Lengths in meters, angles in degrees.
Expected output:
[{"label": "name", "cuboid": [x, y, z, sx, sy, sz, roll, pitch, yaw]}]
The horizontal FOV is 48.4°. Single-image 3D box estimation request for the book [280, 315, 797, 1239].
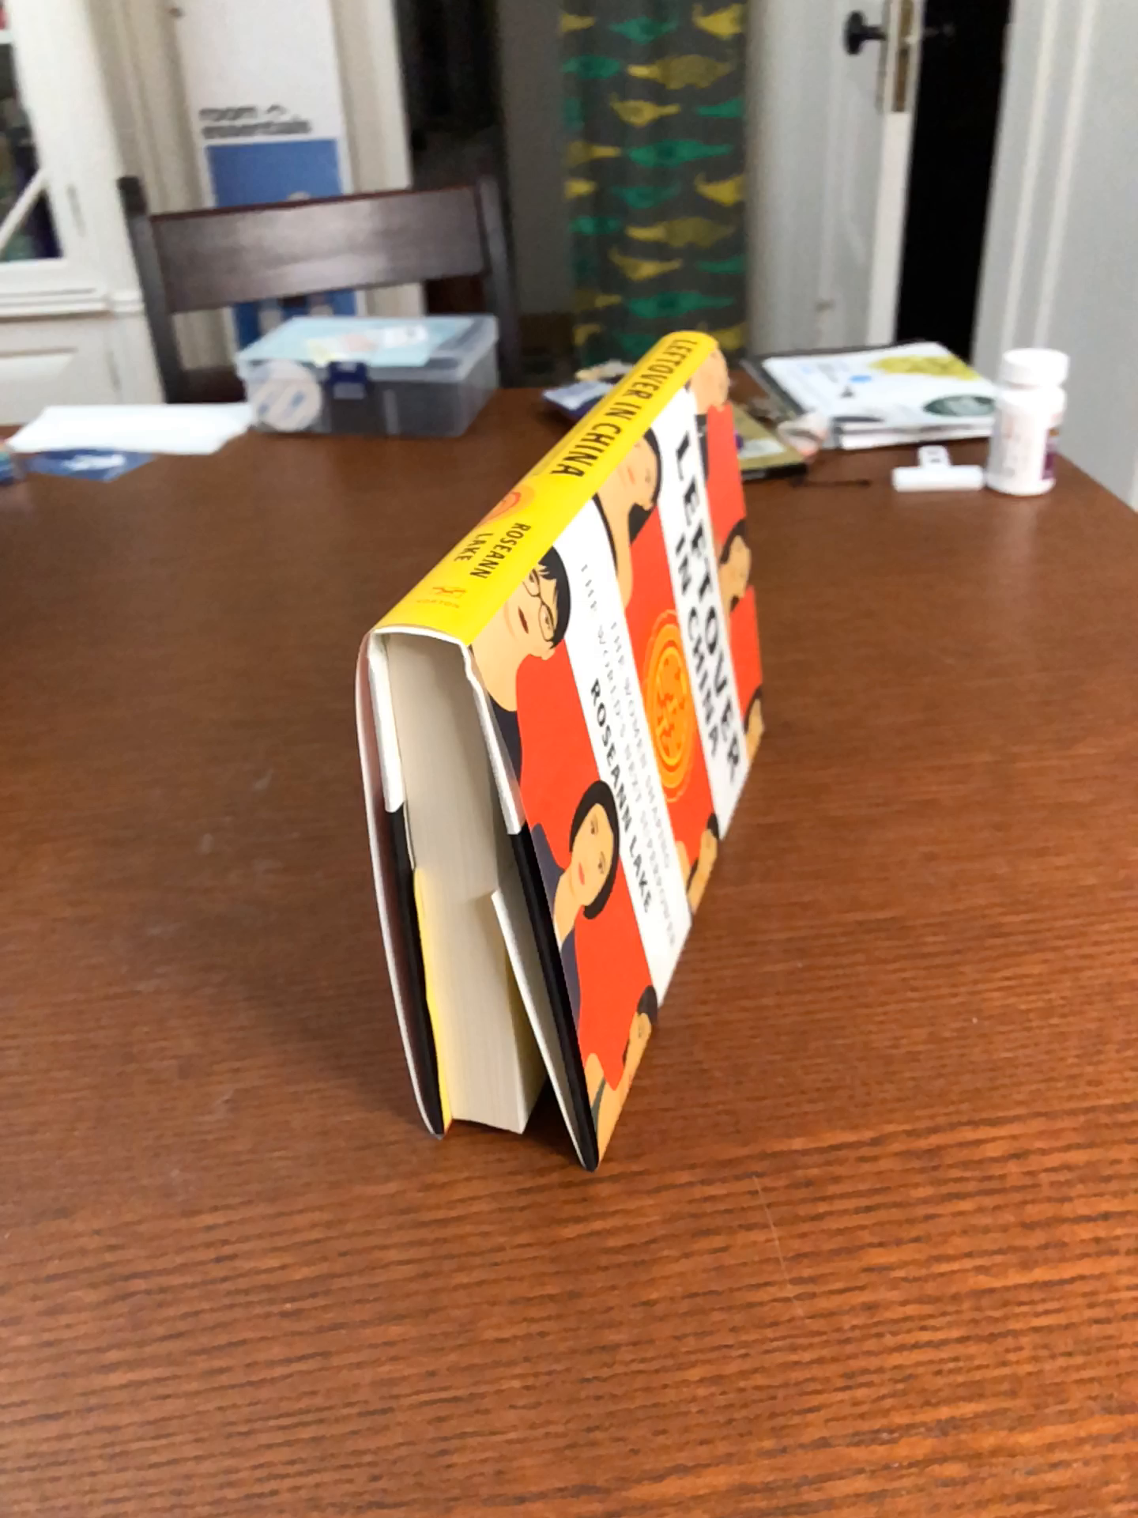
[{"label": "book", "cuboid": [0.015, -0.018, 0.407, 0.060, 0.179, 0.261, 8, 34, 18]}]
